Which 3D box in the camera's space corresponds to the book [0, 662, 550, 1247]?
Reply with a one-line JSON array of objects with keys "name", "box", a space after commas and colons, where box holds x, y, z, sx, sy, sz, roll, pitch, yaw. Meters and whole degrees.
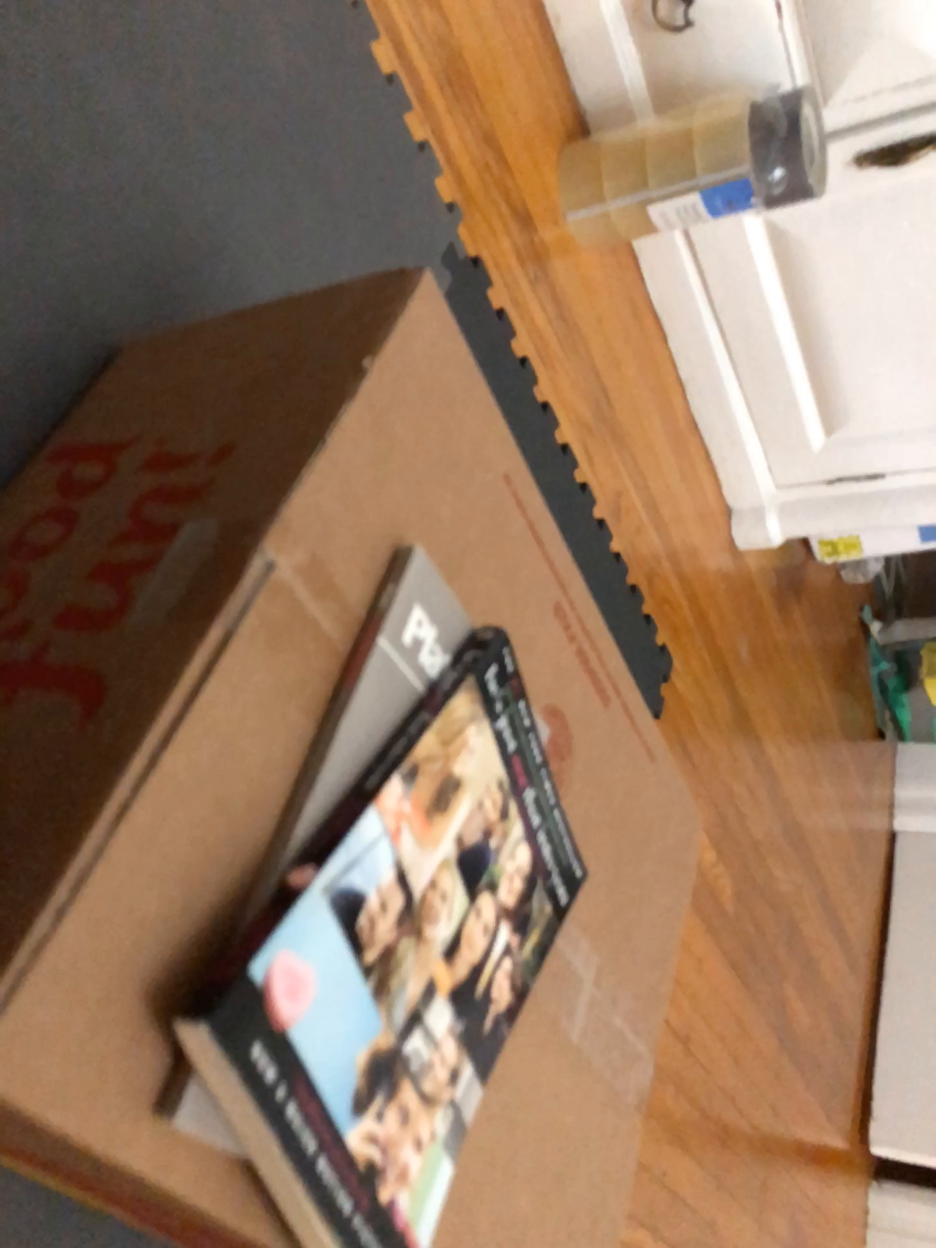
[{"name": "book", "box": [-0.038, 0.139, 0.352, 0.231, 0.010, 0.150, -51, 129, -48]}]
